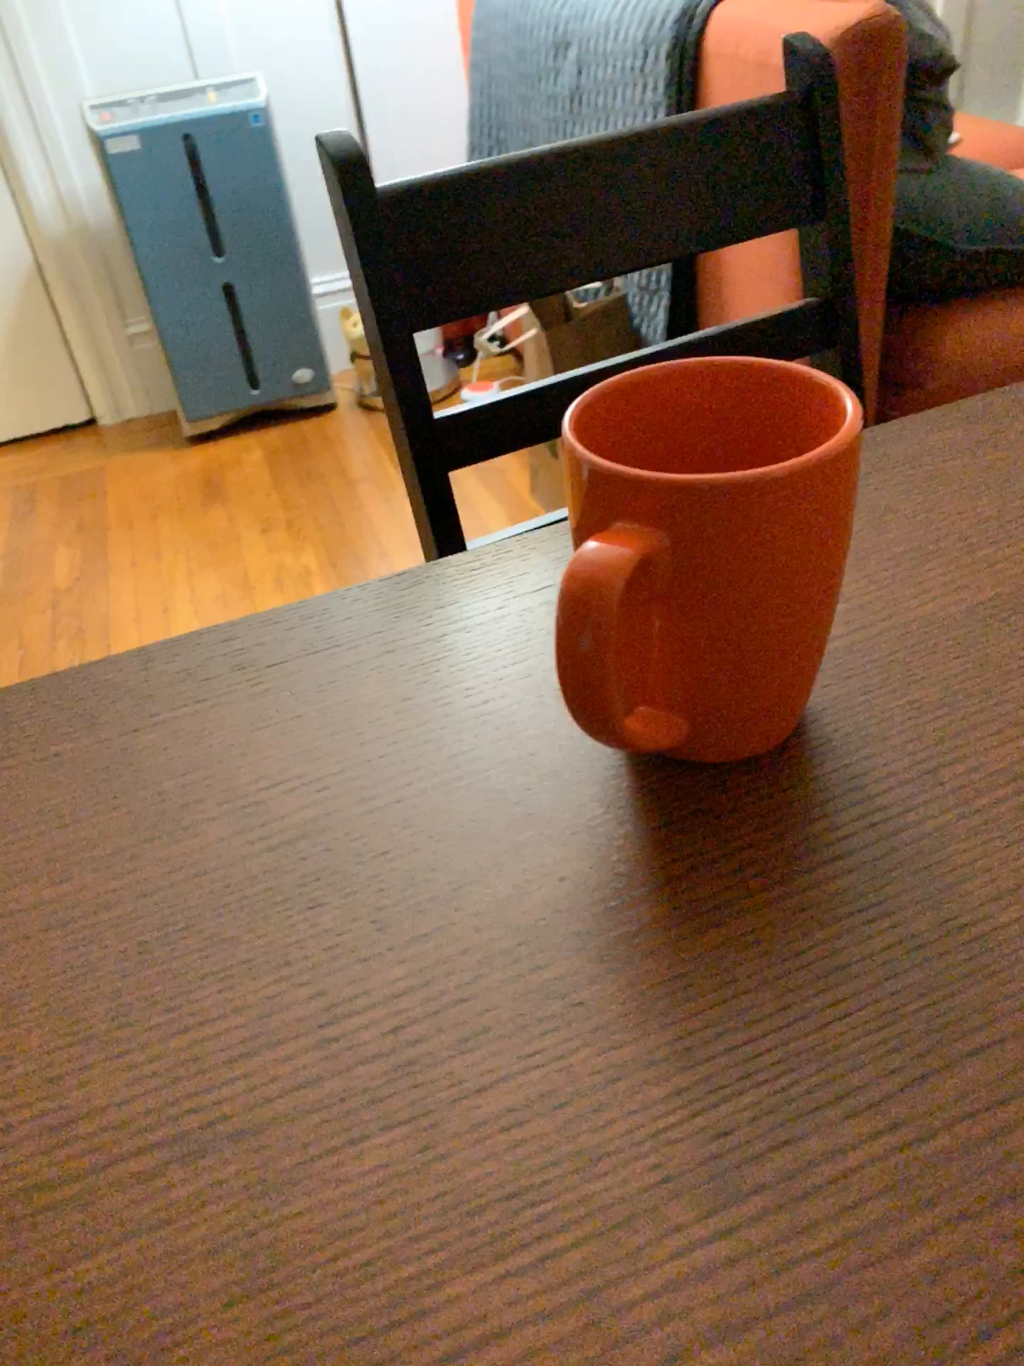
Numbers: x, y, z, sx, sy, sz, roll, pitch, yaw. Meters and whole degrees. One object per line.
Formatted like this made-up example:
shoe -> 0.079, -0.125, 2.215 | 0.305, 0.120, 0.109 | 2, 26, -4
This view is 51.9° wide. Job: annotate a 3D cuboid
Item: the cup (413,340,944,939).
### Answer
cup -> 0.056, -0.023, 0.317 | 0.100, 0.109, 0.130 | 14, 42, 27
